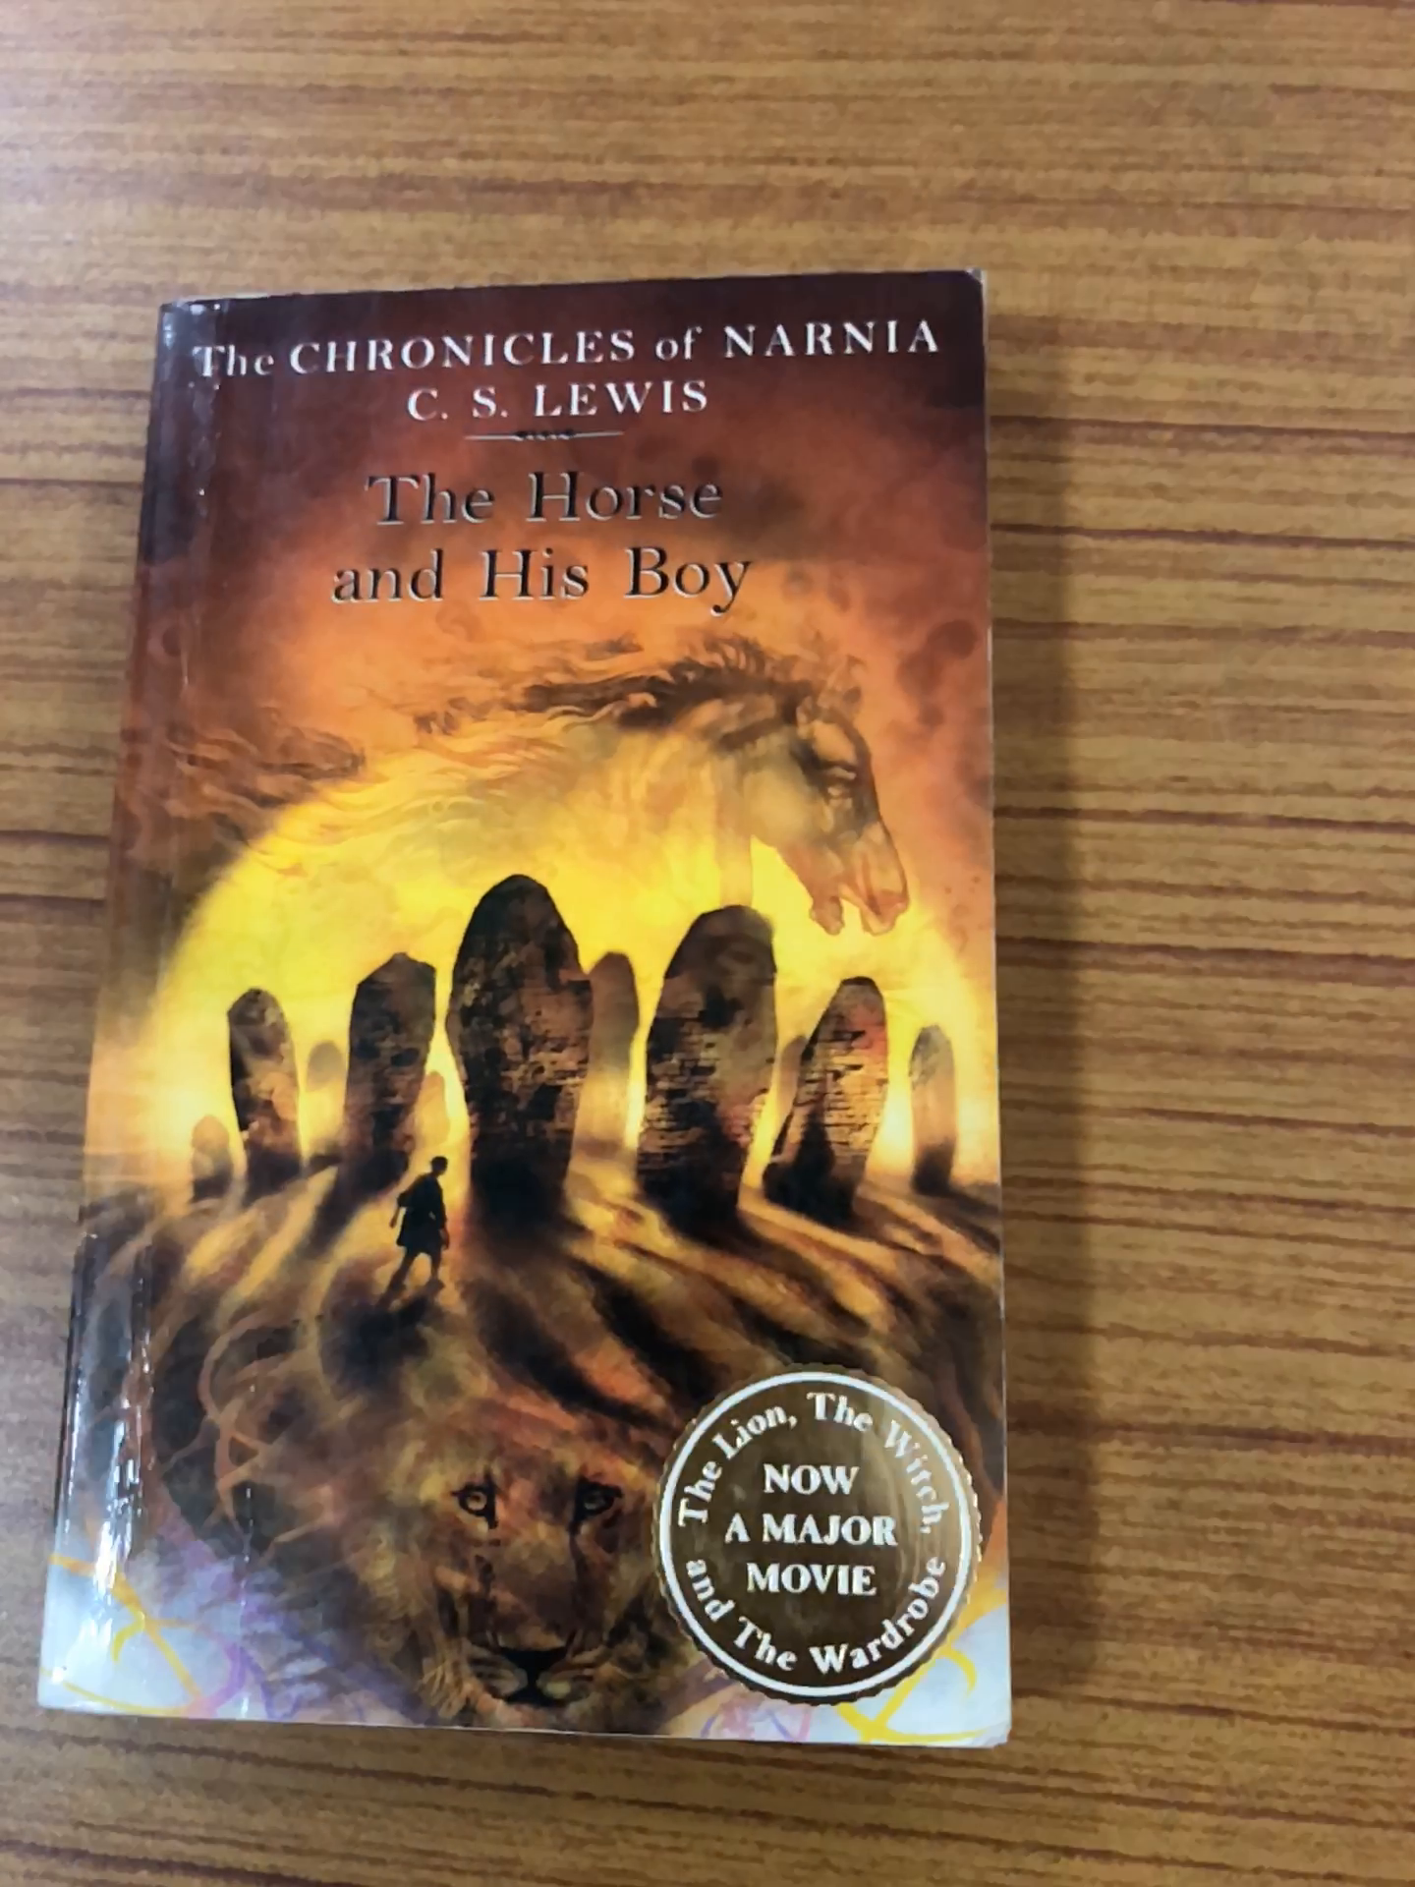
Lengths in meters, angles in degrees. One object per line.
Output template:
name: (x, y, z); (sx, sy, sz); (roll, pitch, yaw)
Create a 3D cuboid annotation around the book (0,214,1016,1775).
book: (-0.026, 0.000, 0.197); (0.120, 0.020, 0.180); (0, 80, 4)
